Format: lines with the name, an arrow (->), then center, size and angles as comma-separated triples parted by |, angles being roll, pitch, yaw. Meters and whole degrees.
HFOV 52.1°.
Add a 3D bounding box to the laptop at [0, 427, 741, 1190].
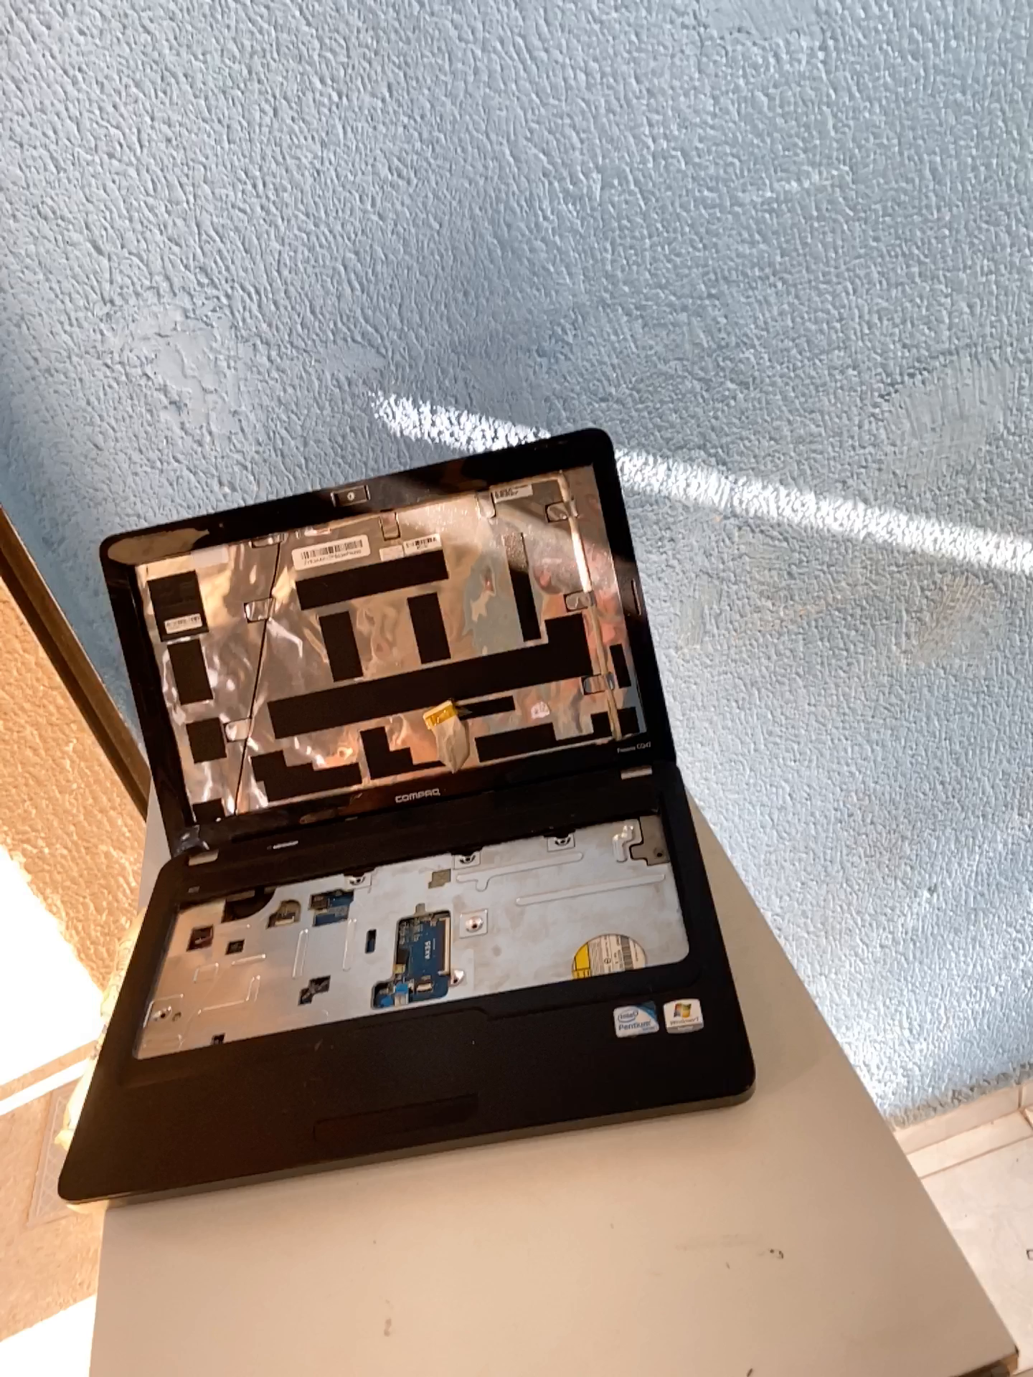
laptop -> -0.081, 0.043, 0.594 | 0.331, 0.182, 0.338 | -12, 35, 6
